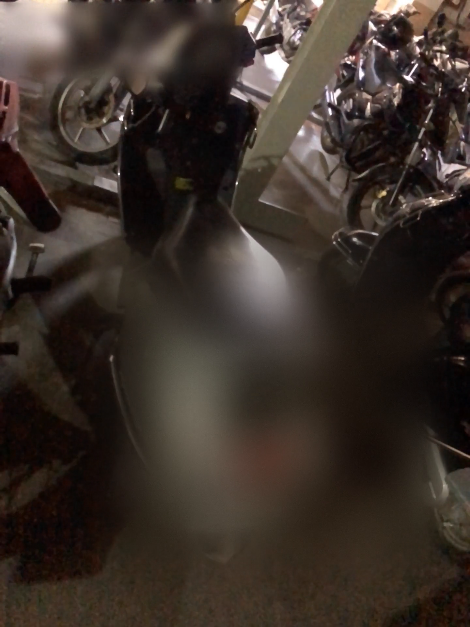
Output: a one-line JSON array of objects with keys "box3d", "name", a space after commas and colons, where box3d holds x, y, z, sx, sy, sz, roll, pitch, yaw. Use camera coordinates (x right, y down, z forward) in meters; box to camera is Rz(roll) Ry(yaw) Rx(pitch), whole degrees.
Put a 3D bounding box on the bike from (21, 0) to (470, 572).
[{"box3d": [-0.161, -0.165, 1.583, 0.603, 1.094, 1.386, 12, 41, -27], "name": "bike"}]
